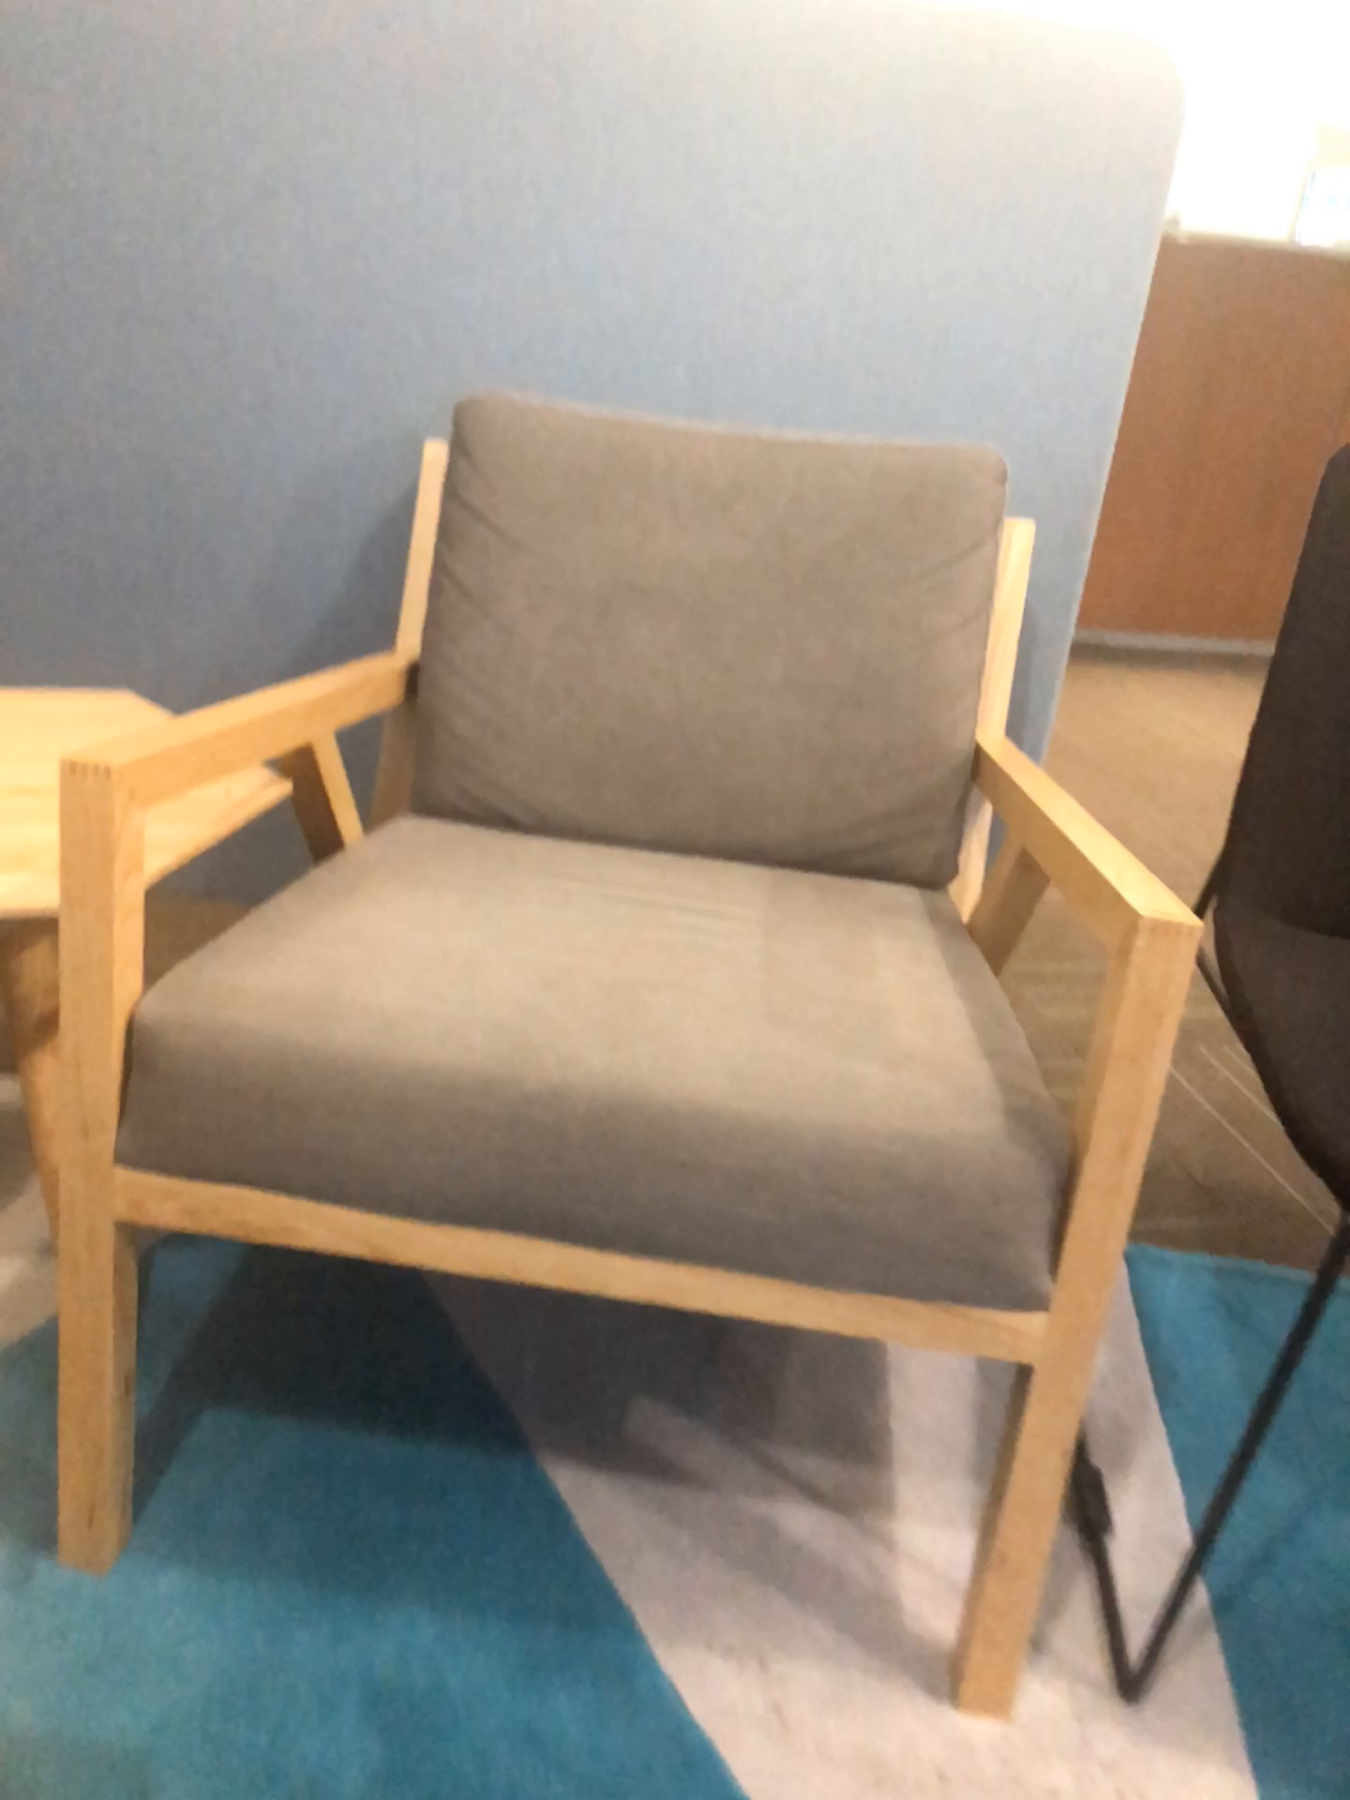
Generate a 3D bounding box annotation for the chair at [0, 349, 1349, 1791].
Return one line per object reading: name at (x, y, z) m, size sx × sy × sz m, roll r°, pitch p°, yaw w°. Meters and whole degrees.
chair at (-0.010, 0.014, 1.205) m, size 0.710 × 0.744 × 0.847 m, roll 8°, pitch 23°, yaw 2°
